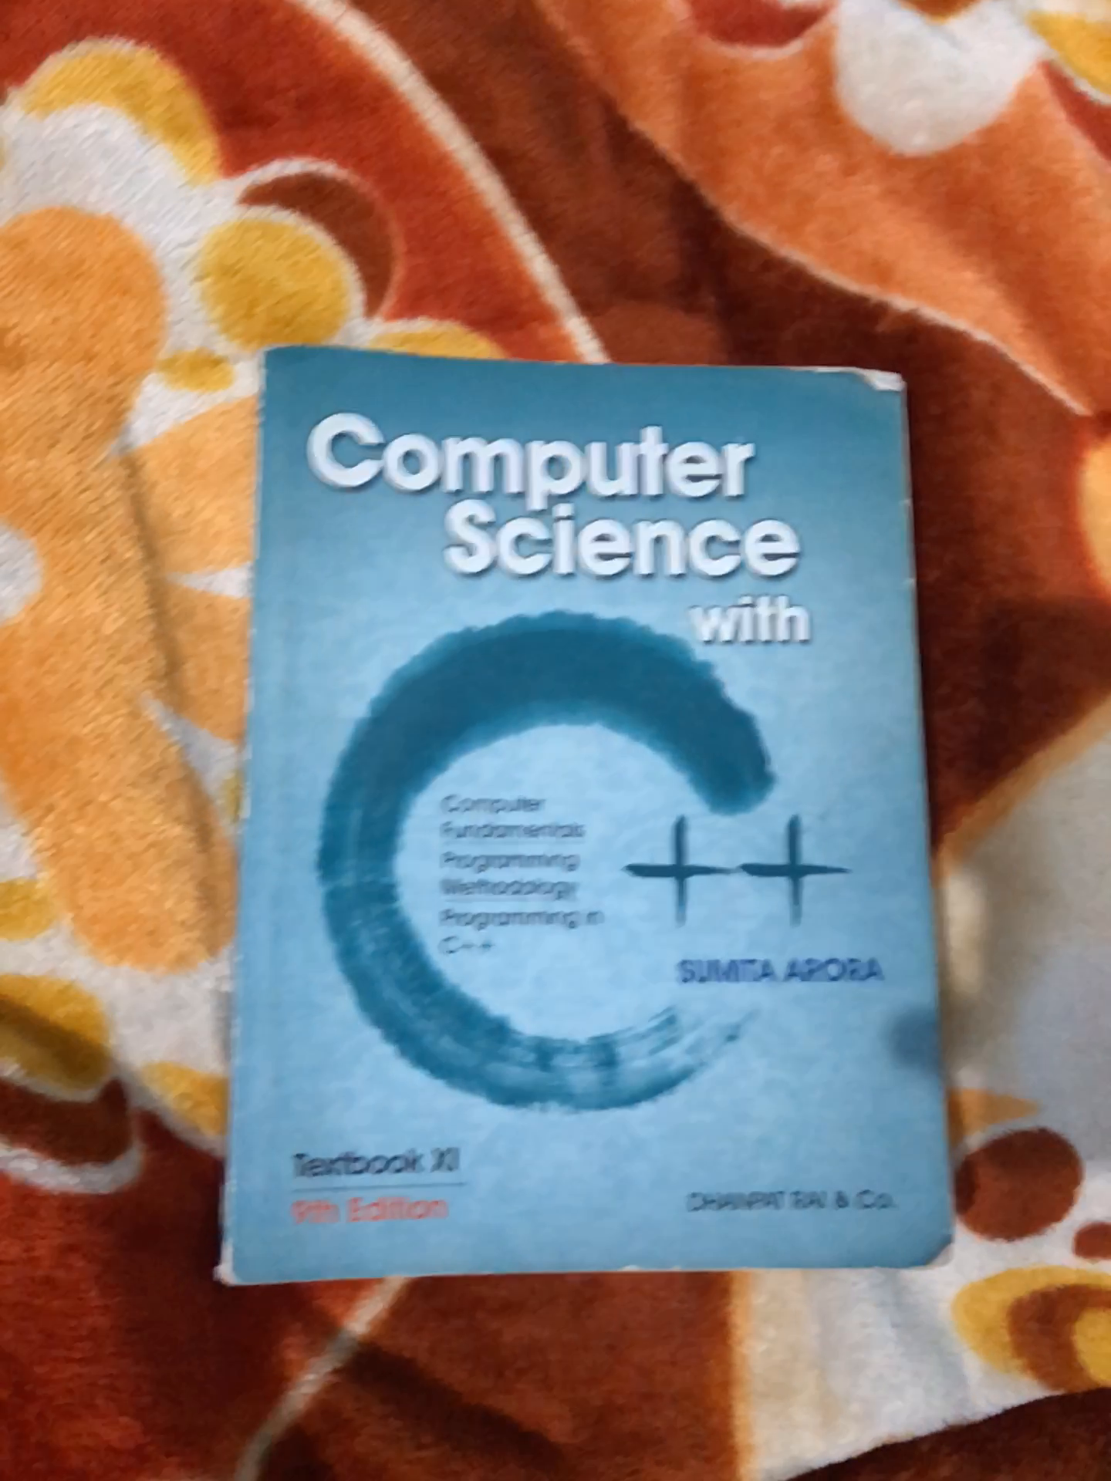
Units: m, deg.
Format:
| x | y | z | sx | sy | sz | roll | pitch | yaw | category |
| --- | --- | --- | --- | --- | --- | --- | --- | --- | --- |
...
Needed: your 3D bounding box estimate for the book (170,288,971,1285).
| x | y | z | sx | sy | sz | roll | pitch | yaw | category |
| --- | --- | --- | --- | --- | --- | --- | --- | --- | --- |
| 0.006 | 0.009 | 0.365 | 0.210 | 0.040 | 0.270 | 1 | 80 | -7 | book |
